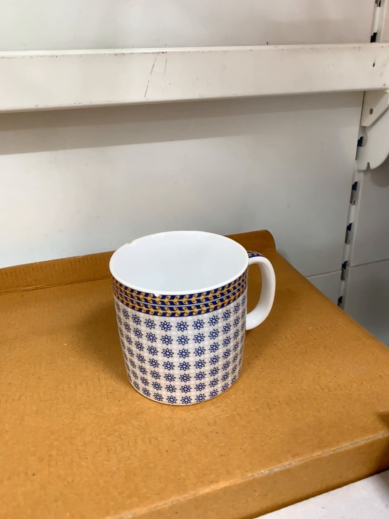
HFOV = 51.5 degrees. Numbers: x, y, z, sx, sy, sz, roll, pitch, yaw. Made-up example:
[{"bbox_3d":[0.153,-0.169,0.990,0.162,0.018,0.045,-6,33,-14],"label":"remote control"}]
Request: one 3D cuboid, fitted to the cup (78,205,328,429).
[{"bbox_3d":[0.003,0.022,0.232,0.110,0.069,0.080,-14,27,-24],"label":"cup"}]
